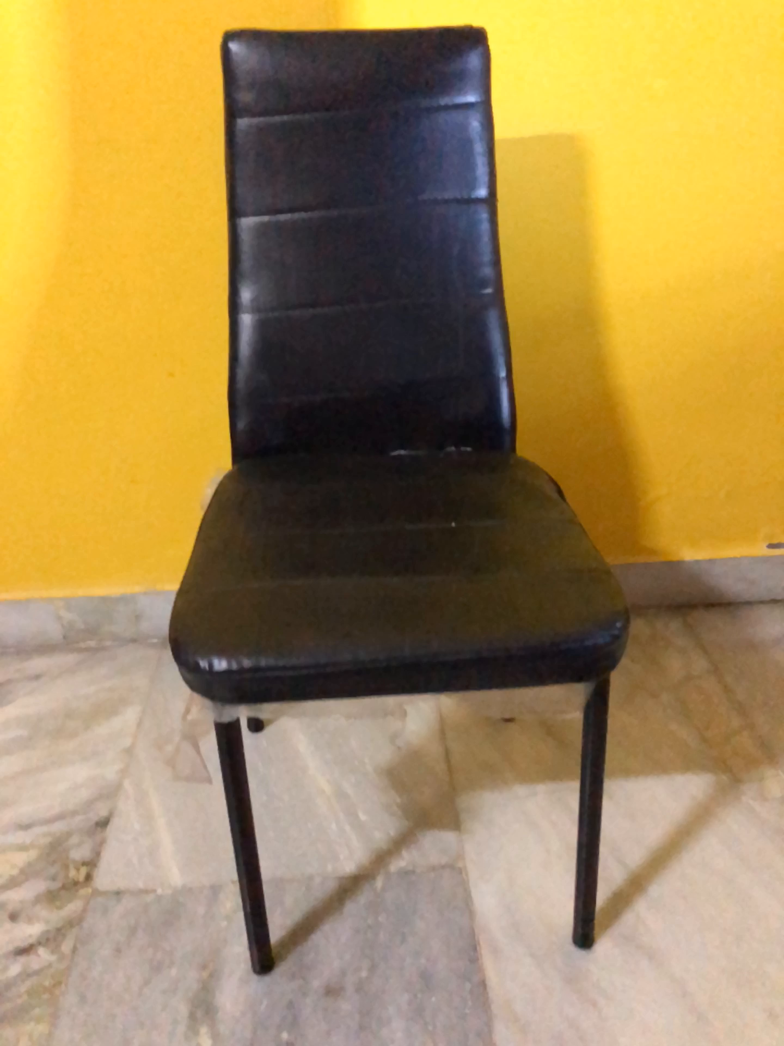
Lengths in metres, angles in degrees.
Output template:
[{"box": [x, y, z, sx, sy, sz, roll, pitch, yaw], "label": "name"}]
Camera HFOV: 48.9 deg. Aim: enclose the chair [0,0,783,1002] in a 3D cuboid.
[{"box": [-0.005, -0.054, 0.907, 0.480, 0.903, 0.534, -3, 28, -2], "label": "chair"}]
